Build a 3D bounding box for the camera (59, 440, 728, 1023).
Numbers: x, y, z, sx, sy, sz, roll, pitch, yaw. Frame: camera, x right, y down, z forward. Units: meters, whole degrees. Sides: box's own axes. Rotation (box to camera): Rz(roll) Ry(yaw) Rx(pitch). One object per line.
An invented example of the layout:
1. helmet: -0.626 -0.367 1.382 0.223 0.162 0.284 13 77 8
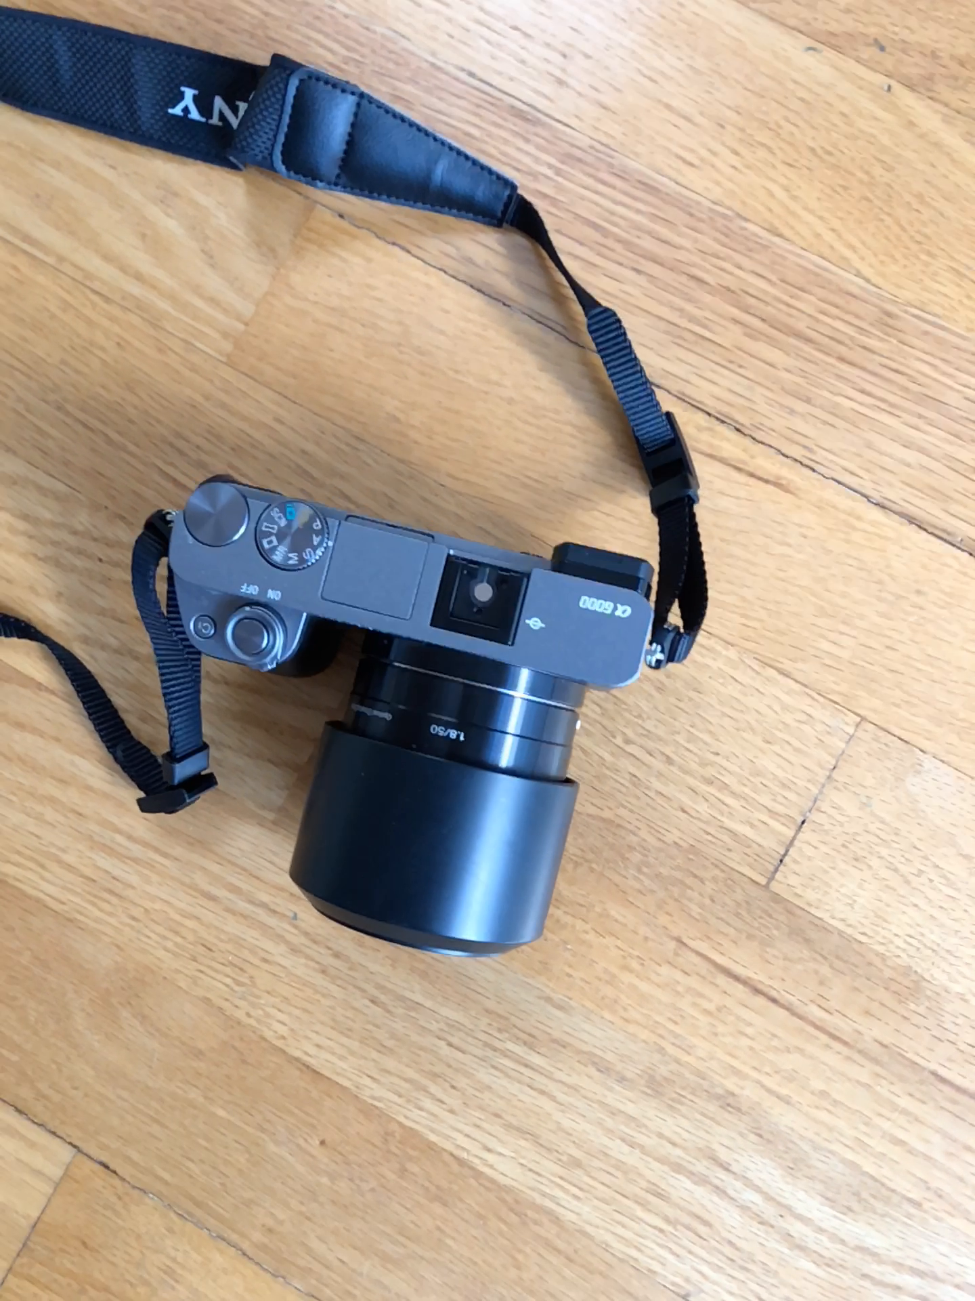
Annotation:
1. camera: -0.022 0.019 0.288 0.140 0.060 0.110 13 89 4
